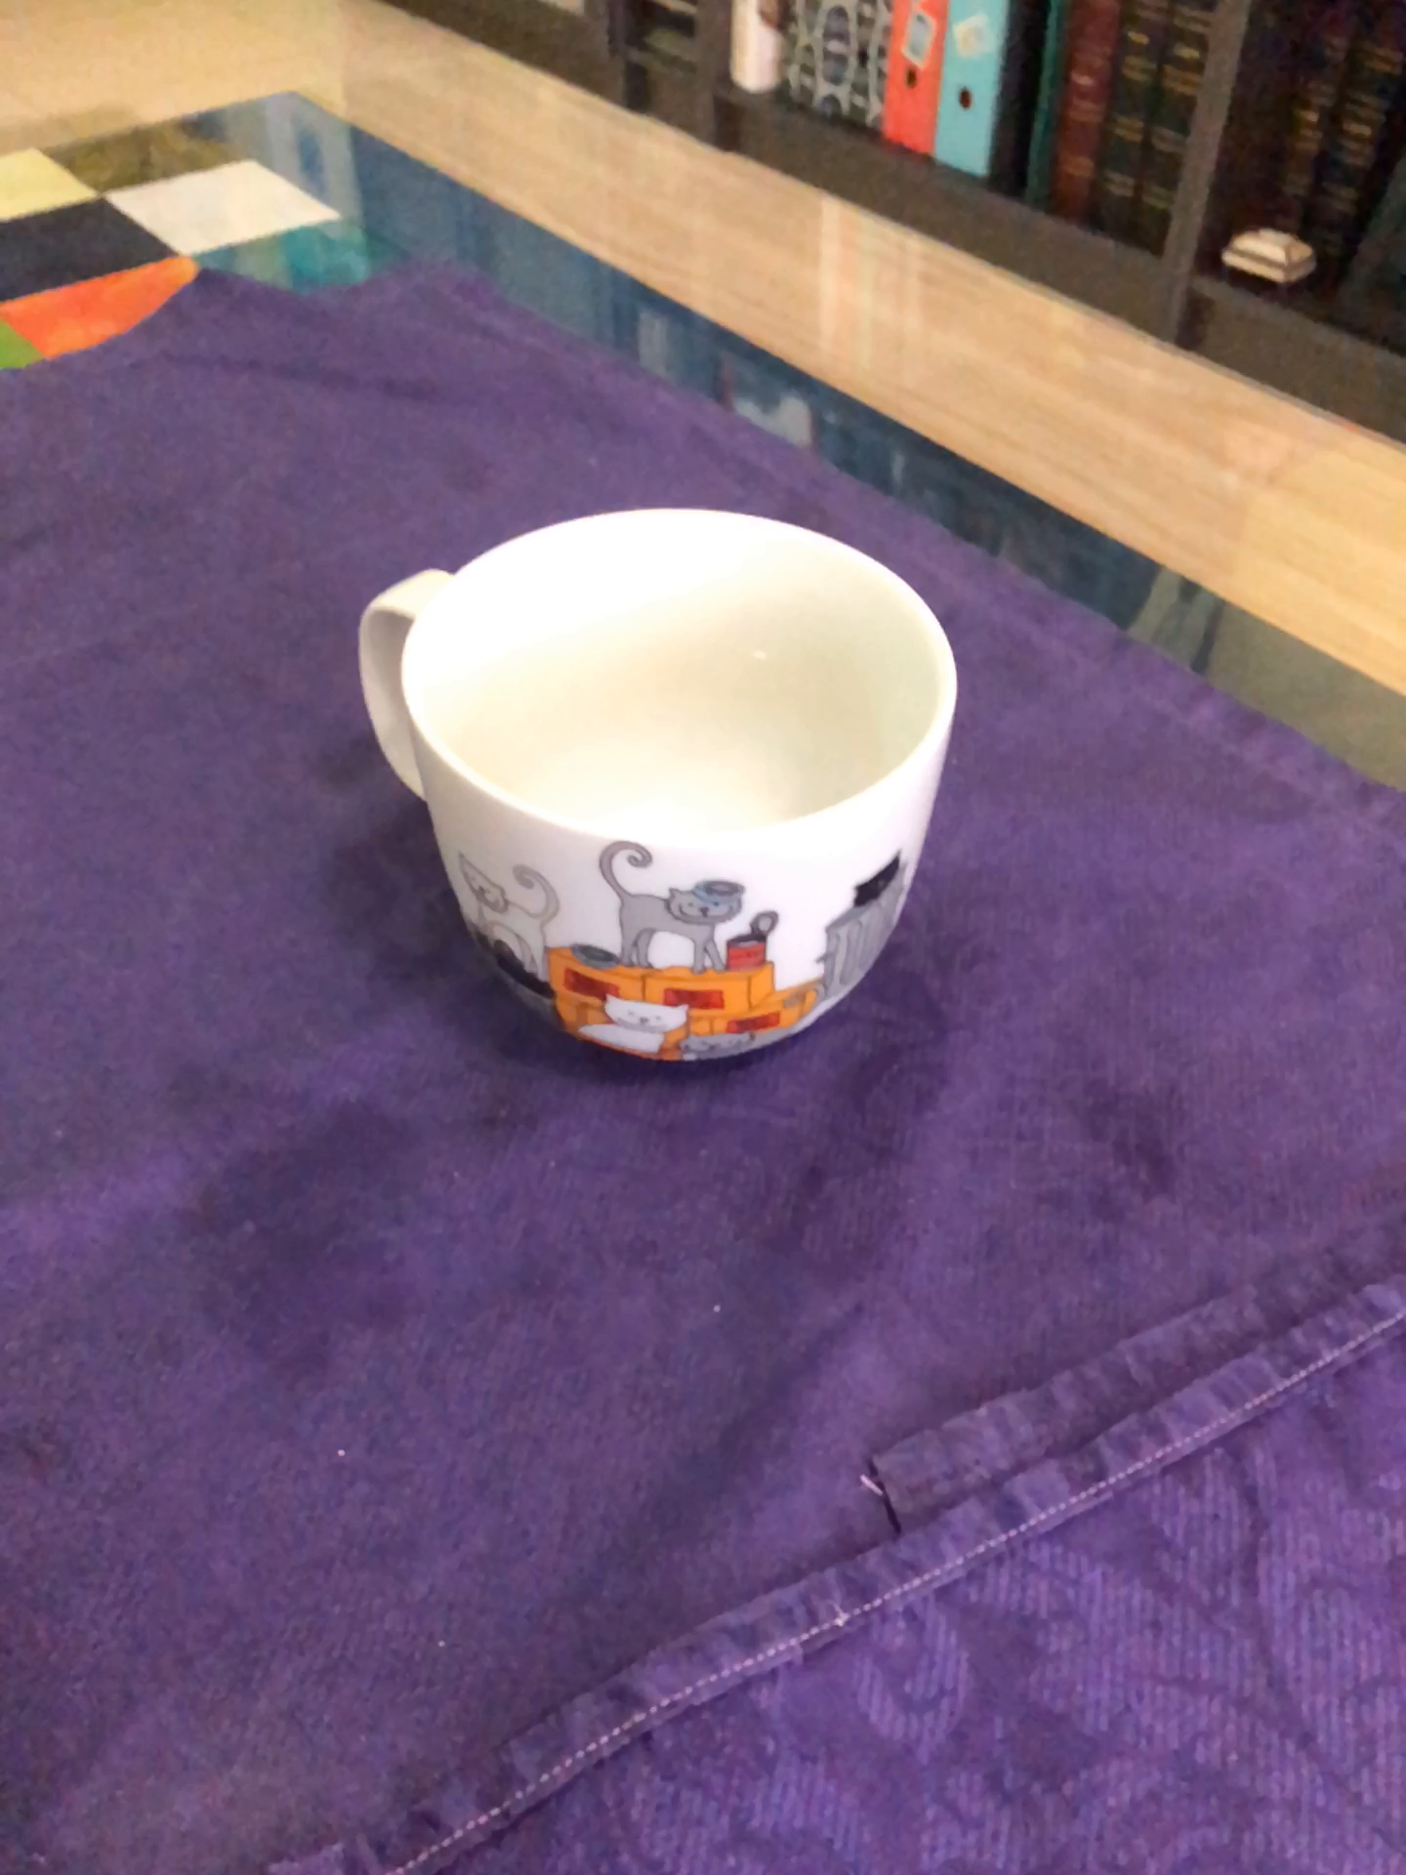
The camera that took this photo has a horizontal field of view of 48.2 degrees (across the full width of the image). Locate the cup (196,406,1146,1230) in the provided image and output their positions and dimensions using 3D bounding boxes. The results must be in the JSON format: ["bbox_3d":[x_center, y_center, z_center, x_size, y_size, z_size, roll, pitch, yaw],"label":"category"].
[{"bbox_3d":[-0.008,-0.031,0.298,0.140,0.070,0.090,29,52,26],"label":"cup"}]
